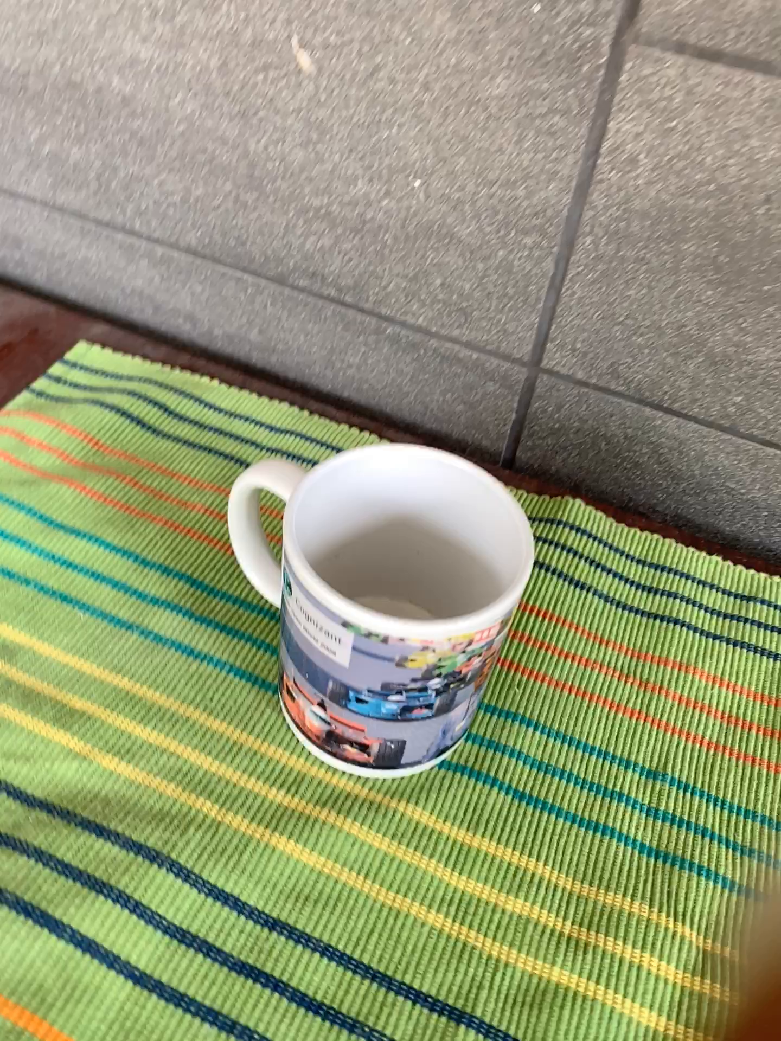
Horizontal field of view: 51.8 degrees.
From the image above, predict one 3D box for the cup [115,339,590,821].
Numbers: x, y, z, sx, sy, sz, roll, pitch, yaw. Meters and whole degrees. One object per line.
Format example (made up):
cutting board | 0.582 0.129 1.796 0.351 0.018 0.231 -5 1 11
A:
cup | -0.017 0.019 0.293 0.130 0.100 0.080 29 48 17
